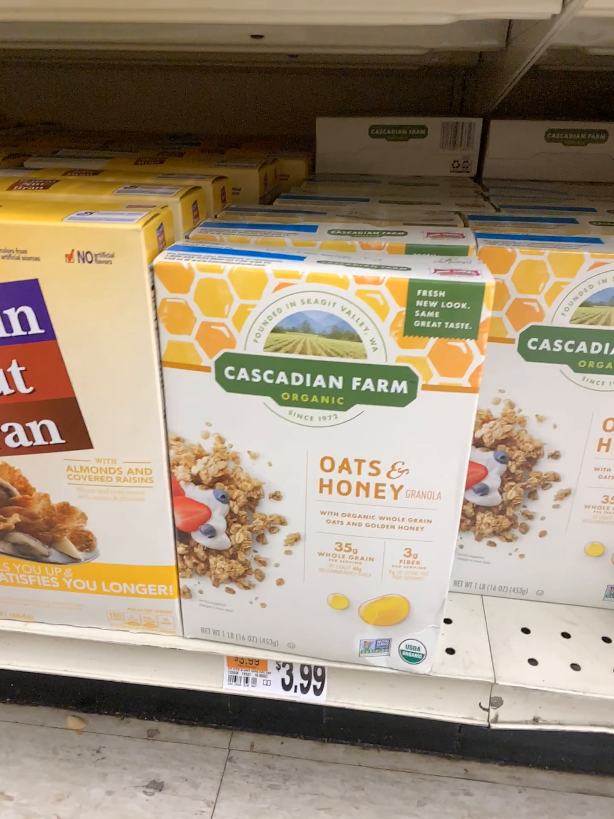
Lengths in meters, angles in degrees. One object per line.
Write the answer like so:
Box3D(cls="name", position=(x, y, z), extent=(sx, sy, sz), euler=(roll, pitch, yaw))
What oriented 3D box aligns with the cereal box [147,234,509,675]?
Box3D(cls="cereal box", position=(0.009, 0.029, 0.352), extent=(0.160, 0.229, 0.060), euler=(6, 26, 9))
